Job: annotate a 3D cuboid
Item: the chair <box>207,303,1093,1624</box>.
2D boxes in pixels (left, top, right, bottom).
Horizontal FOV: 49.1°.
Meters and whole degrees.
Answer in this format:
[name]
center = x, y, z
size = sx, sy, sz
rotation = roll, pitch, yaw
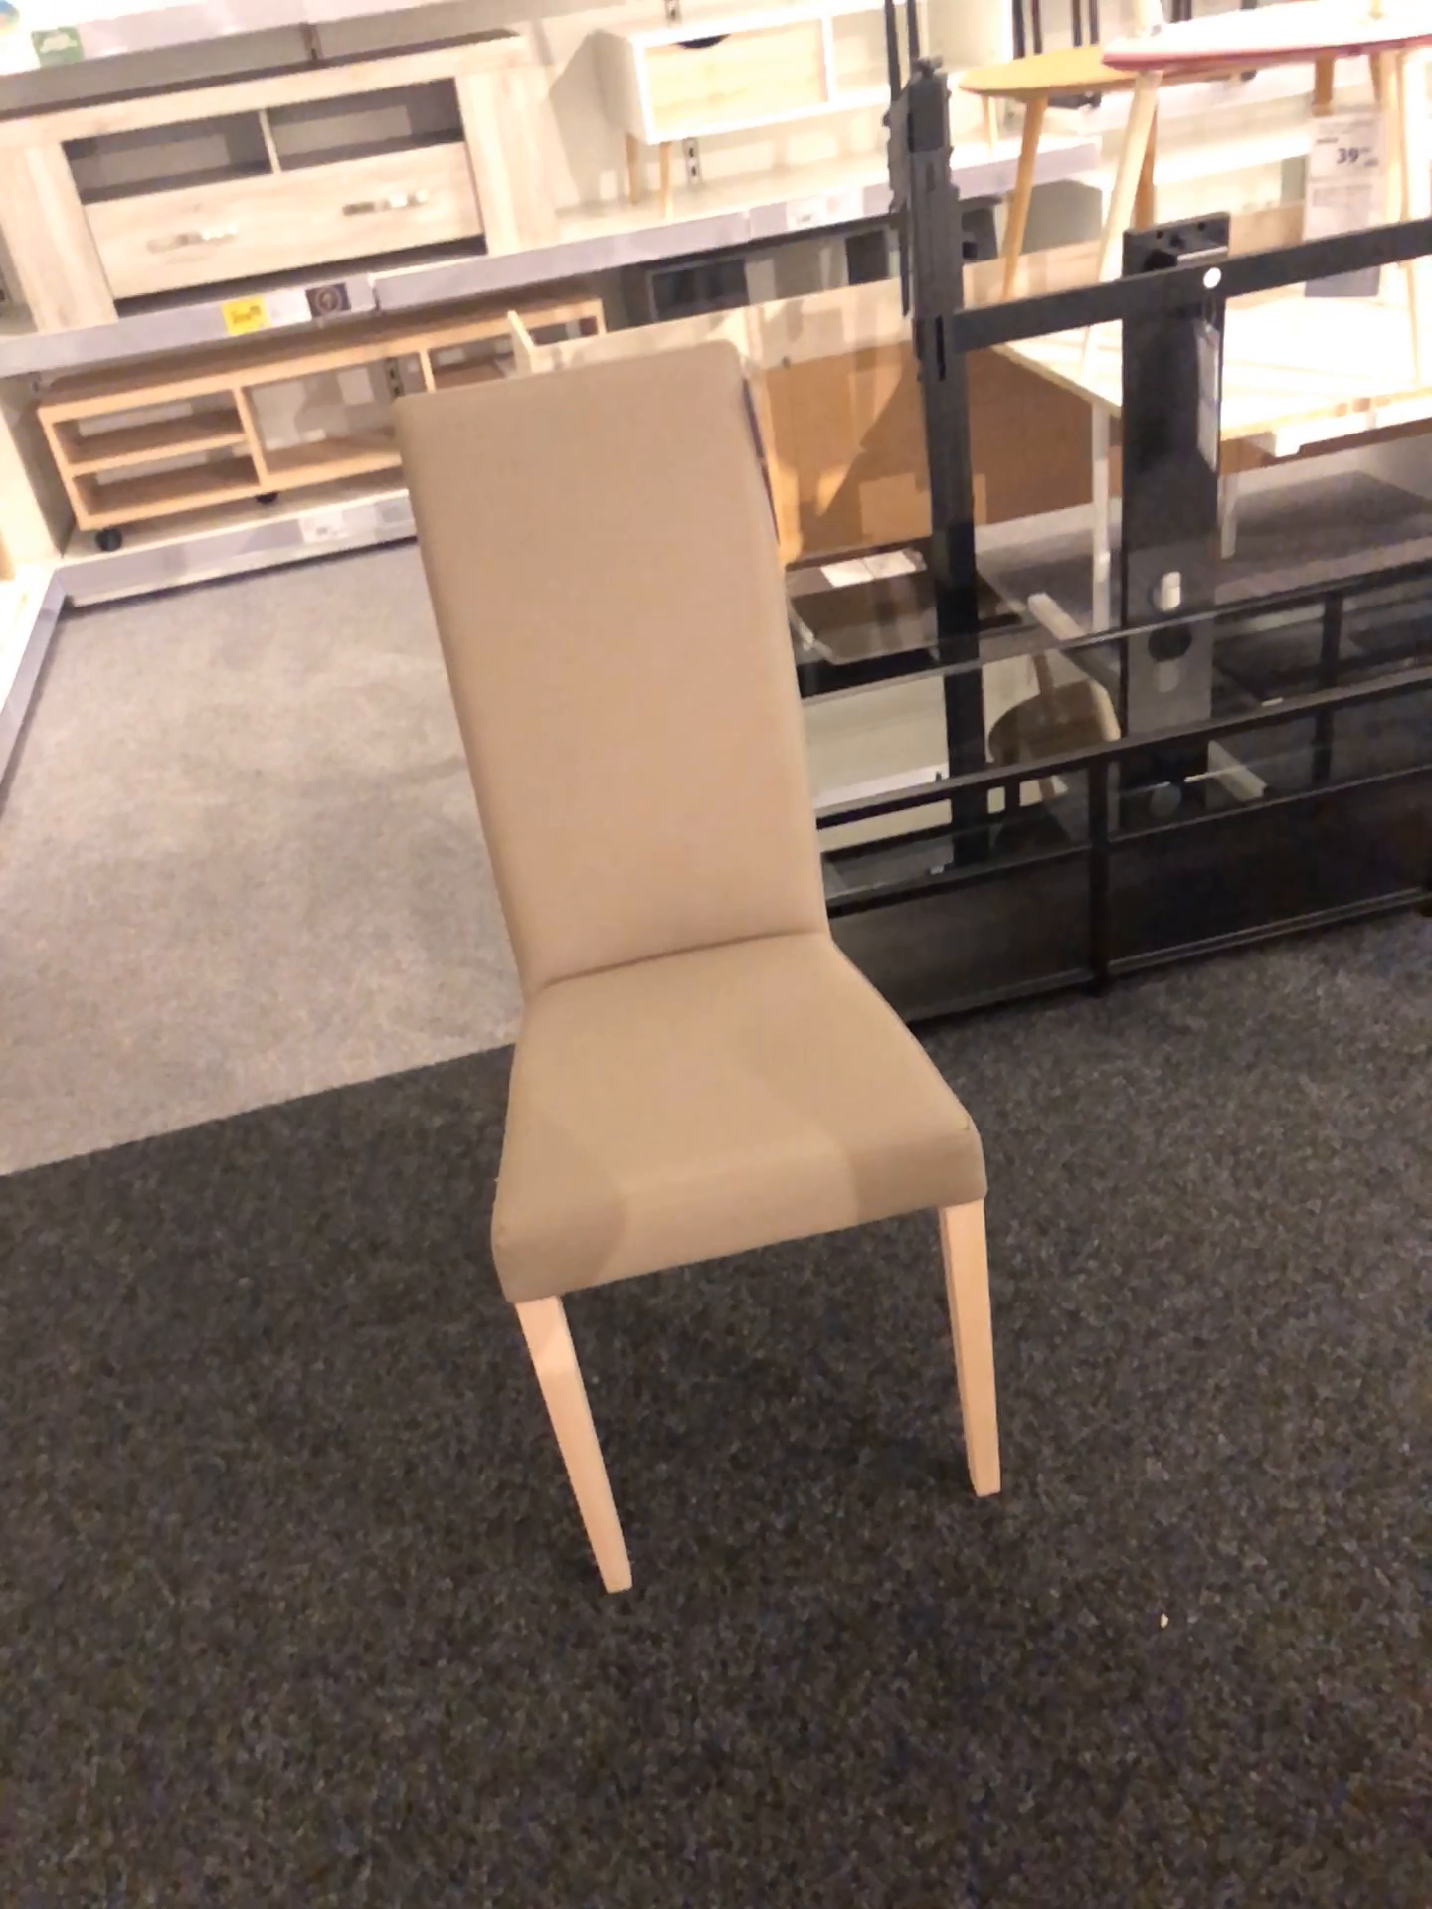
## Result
[chair]
center = -0.025, -0.005, 1.452
size = 0.530, 0.945, 0.633
rotation = -12, 32, -4
